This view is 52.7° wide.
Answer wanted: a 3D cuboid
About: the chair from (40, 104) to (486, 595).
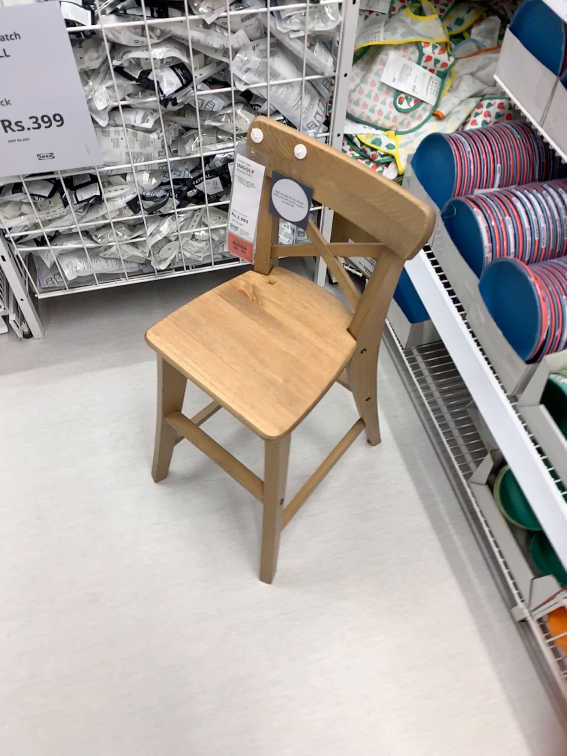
[{"bbox_3d":[-0.021,0.000,1.039,0.380,0.688,0.461,34,61,19],"label":"chair"}]
